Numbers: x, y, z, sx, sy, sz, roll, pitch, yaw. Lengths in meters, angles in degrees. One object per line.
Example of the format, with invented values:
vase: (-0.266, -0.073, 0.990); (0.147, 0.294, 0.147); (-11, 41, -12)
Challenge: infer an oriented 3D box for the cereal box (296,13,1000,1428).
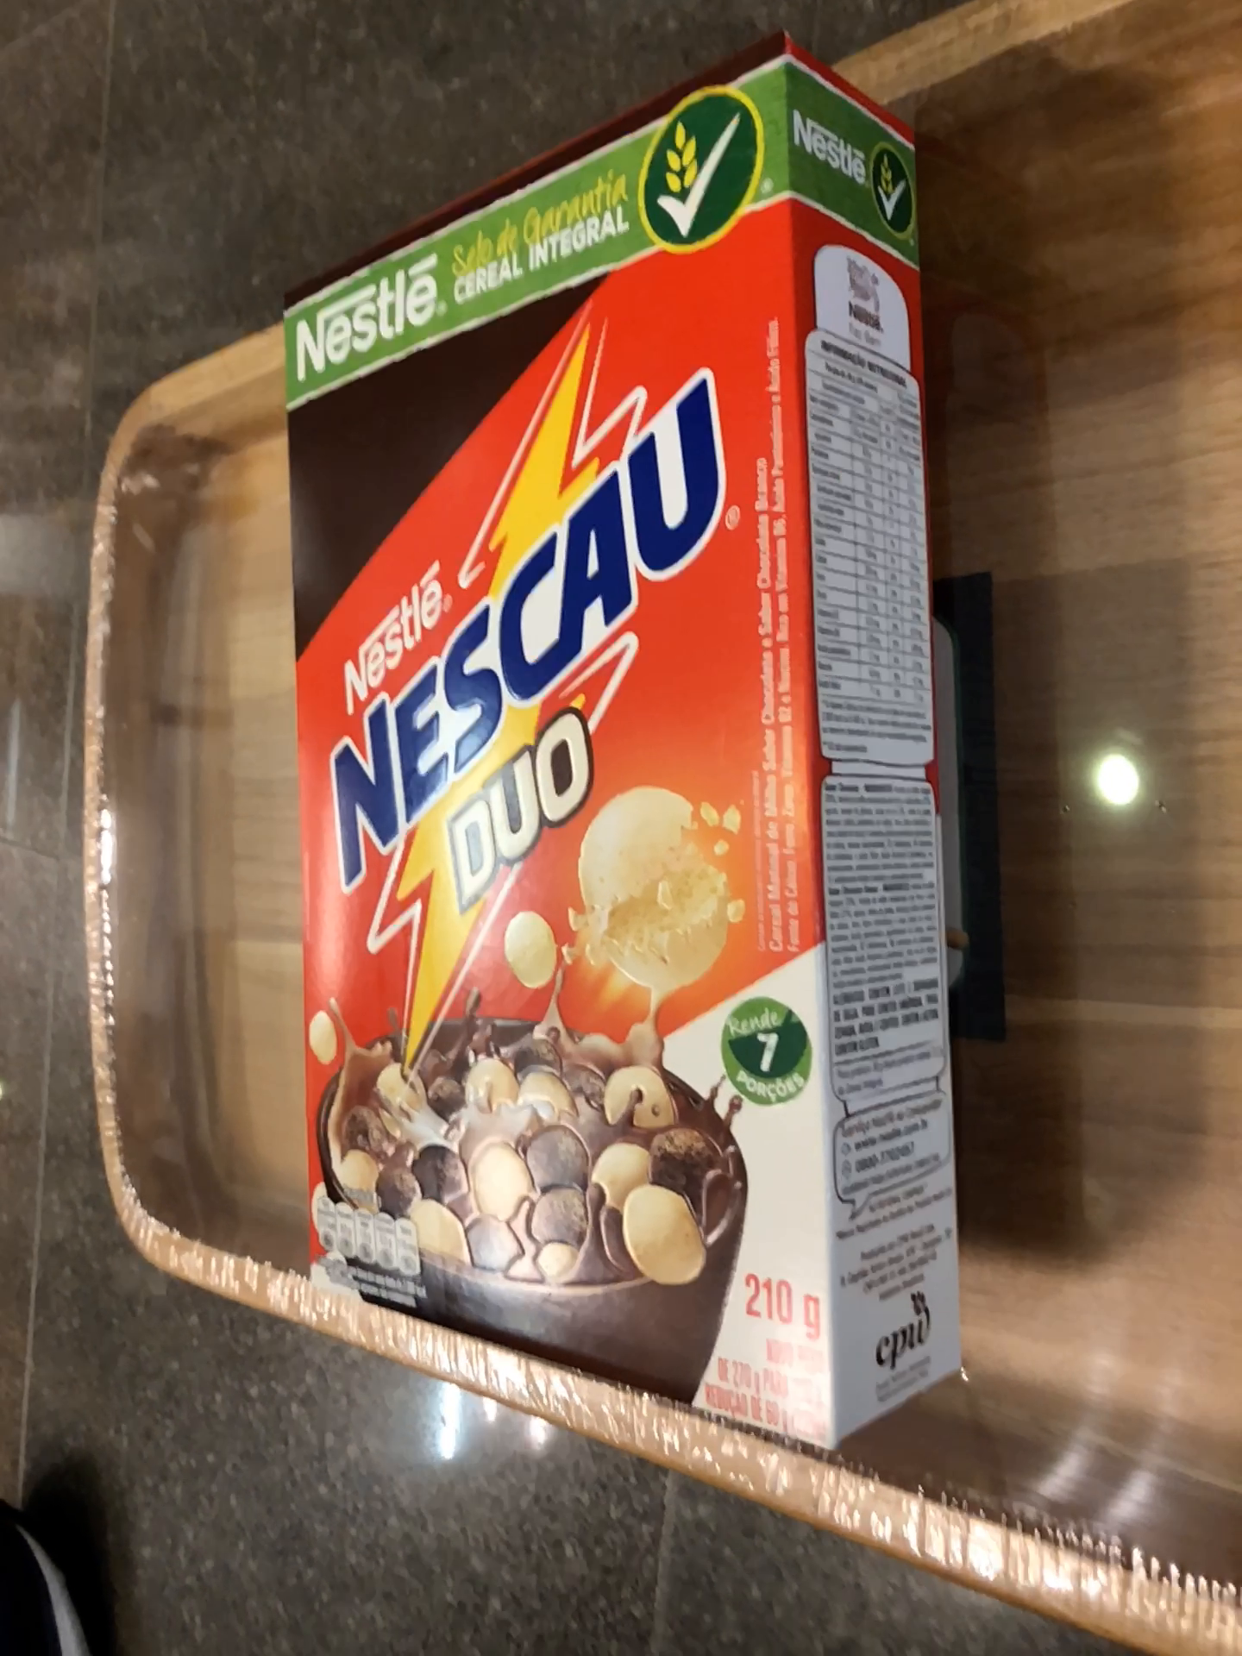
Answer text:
cereal box: (-0.004, -0.018, 0.316); (0.161, 0.050, 0.250); (-3, 88, 43)
